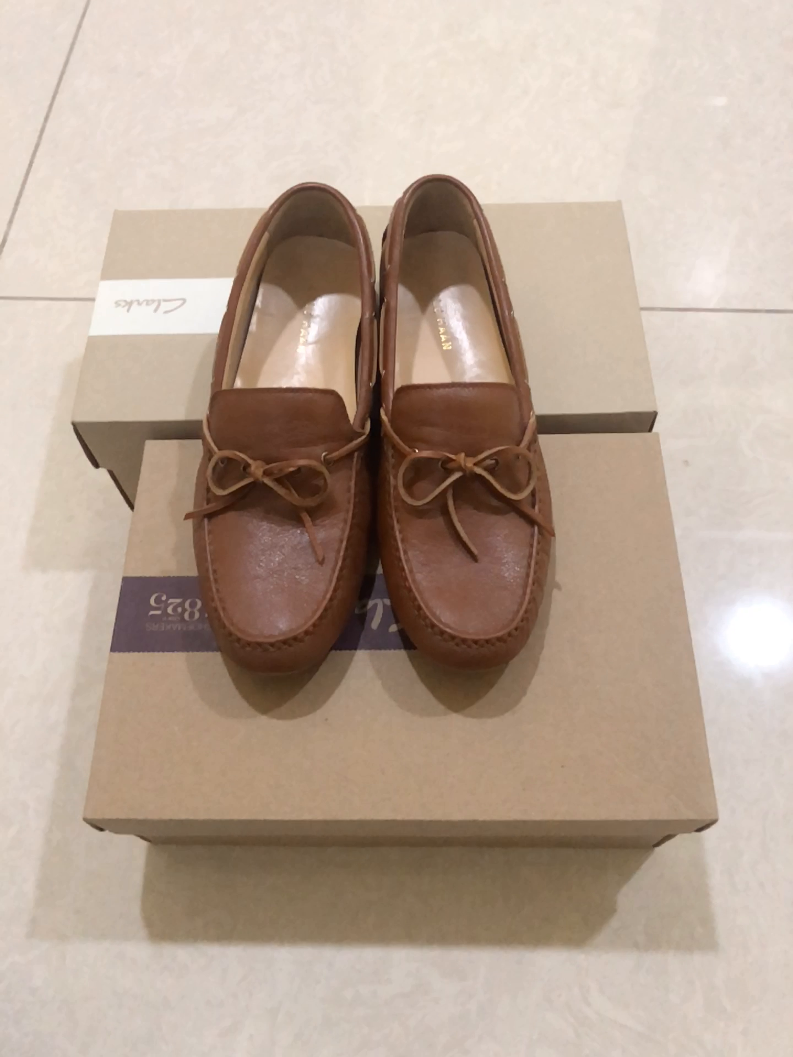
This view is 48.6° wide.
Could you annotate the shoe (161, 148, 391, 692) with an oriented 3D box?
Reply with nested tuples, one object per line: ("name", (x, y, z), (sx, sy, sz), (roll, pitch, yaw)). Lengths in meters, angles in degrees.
("shoe", (-0.053, -0.062, 0.467), (0.080, 0.080, 0.280), (3, 69, 3))

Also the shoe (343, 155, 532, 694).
("shoe", (0.015, -0.060, 0.471), (0.080, 0.080, 0.280), (-2, 68, 0))
